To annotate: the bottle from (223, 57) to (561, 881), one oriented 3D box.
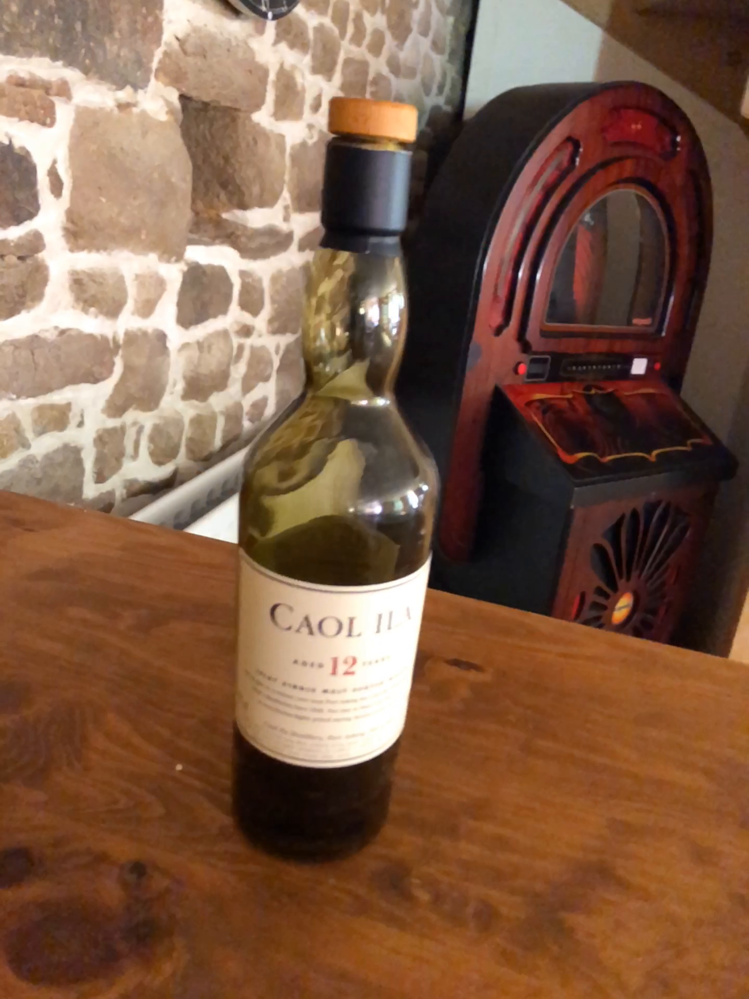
[{"bbox_3d":[-0.007,0.002,0.324,0.080,0.298,0.070,-1,22,-20],"label":"bottle"}]
